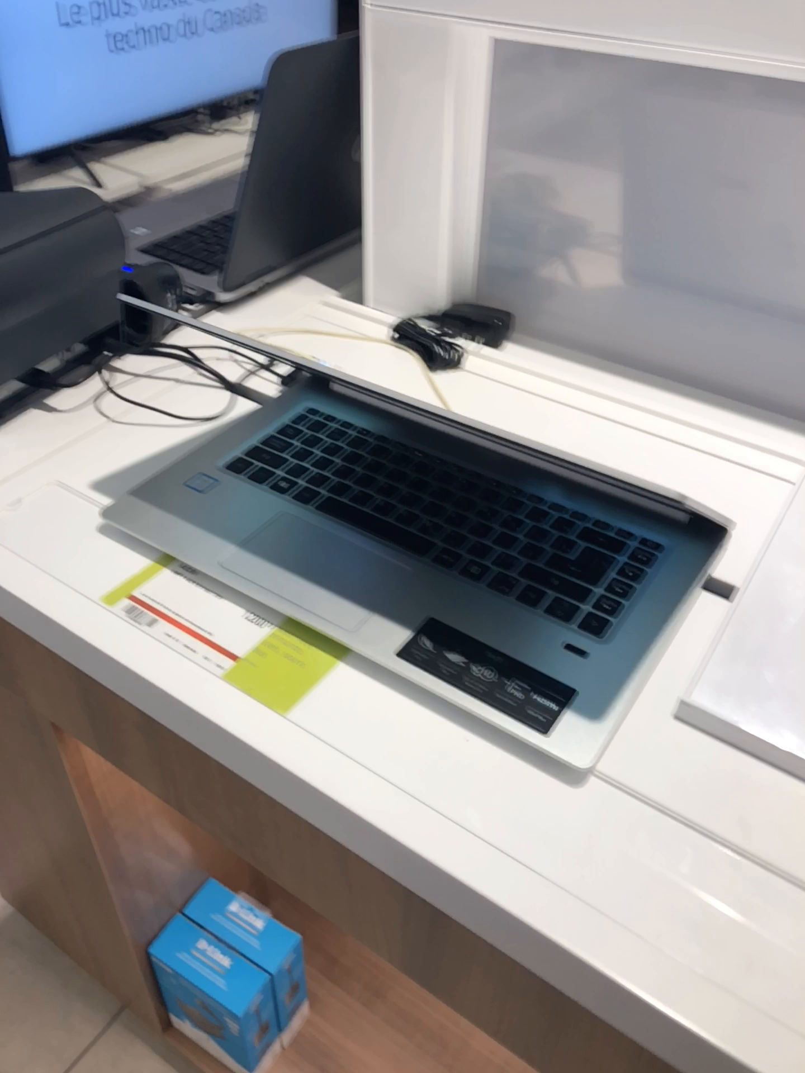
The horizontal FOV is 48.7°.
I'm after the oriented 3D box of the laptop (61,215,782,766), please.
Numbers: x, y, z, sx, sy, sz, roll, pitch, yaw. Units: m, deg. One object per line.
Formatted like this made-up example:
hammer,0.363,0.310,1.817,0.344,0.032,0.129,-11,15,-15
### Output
laptop,0.008,-0.059,0.546,0.347,0.132,0.217,24,45,25
